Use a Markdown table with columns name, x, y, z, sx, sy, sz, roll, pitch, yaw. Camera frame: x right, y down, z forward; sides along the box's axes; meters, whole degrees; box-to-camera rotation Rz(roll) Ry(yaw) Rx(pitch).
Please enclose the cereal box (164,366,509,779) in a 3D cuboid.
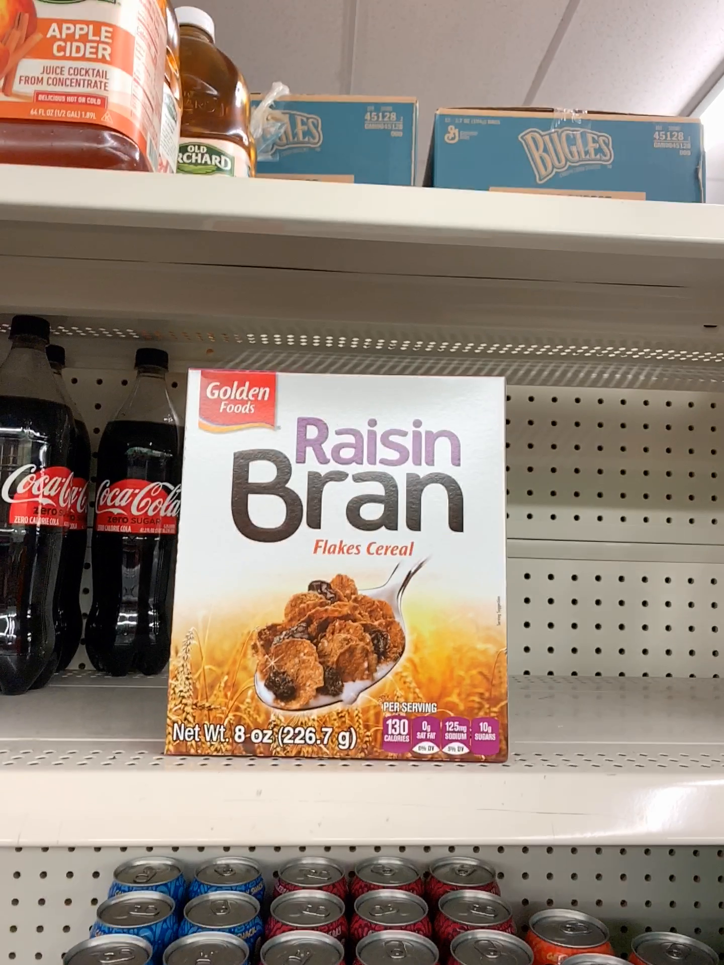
| name | x | y | z | sx | sy | sz | roll | pitch | yaw |
| --- | --- | --- | --- | --- | --- | --- | --- | --- | --- |
| cereal box | -0.011 | 0.050 | 0.451 | 0.190 | 0.230 | 0.050 | 1 | -9 | 0 |
